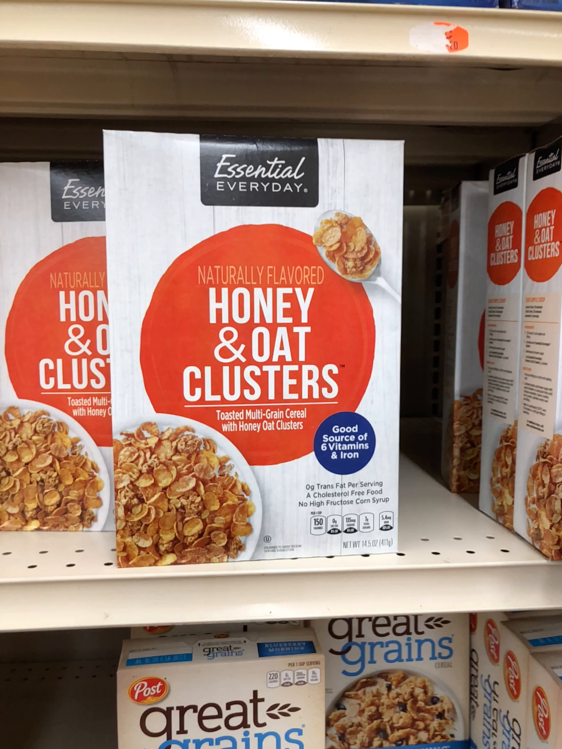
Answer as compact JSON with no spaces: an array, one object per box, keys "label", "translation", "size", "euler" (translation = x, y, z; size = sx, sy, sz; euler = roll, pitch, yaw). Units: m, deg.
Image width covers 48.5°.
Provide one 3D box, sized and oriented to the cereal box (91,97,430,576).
[{"label":"cereal box","translation":[-0.013,-0.023,0.437],"size":[0.210,0.300,0.070],"euler":[-1,6,-6]}]
